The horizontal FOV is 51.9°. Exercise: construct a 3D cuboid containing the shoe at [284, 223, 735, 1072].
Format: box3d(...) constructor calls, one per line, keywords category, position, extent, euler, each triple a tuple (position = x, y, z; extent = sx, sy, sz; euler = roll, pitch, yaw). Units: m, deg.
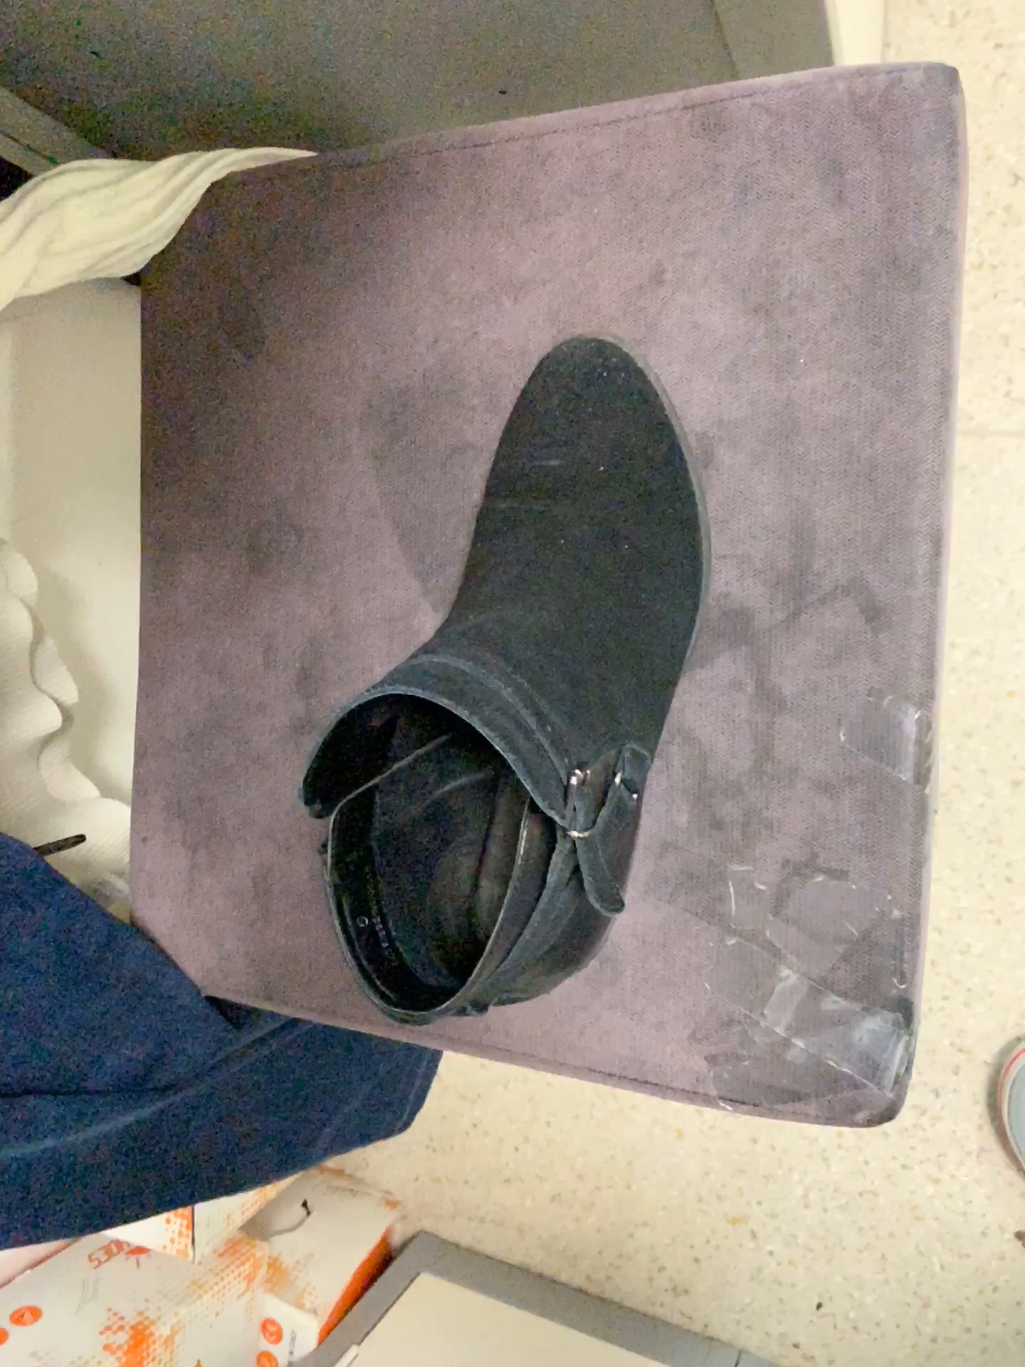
box3d(category="shoe", position=(0.008, -0.013, 0.374), extent=(0.100, 0.138, 0.235), euler=(5, 93, 22))
